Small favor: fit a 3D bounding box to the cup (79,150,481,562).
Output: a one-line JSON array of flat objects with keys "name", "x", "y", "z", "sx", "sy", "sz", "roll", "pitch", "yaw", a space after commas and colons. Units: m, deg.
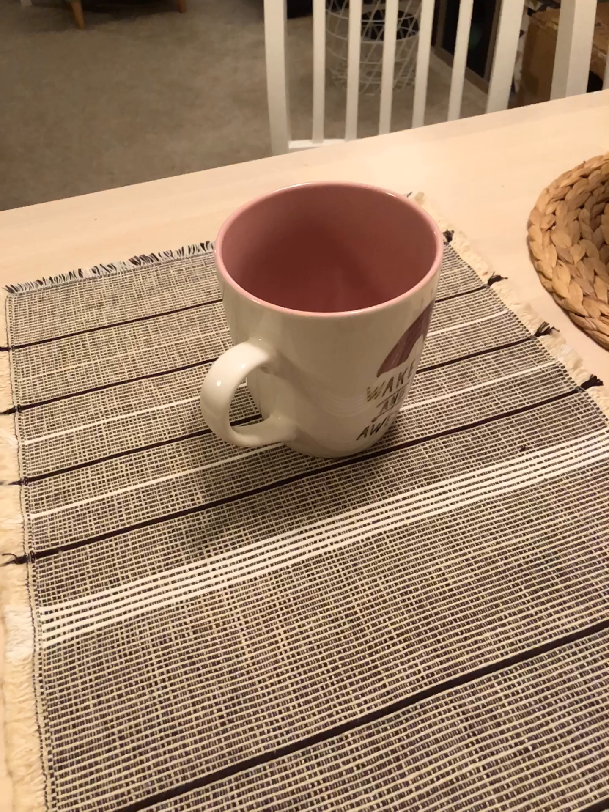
[{"name": "cup", "x": -0.005, "y": -0.035, "z": 0.366, "sx": 0.120, "sy": 0.119, "sz": 0.161, "roll": 27, "pitch": 53, "yaw": 25}]
